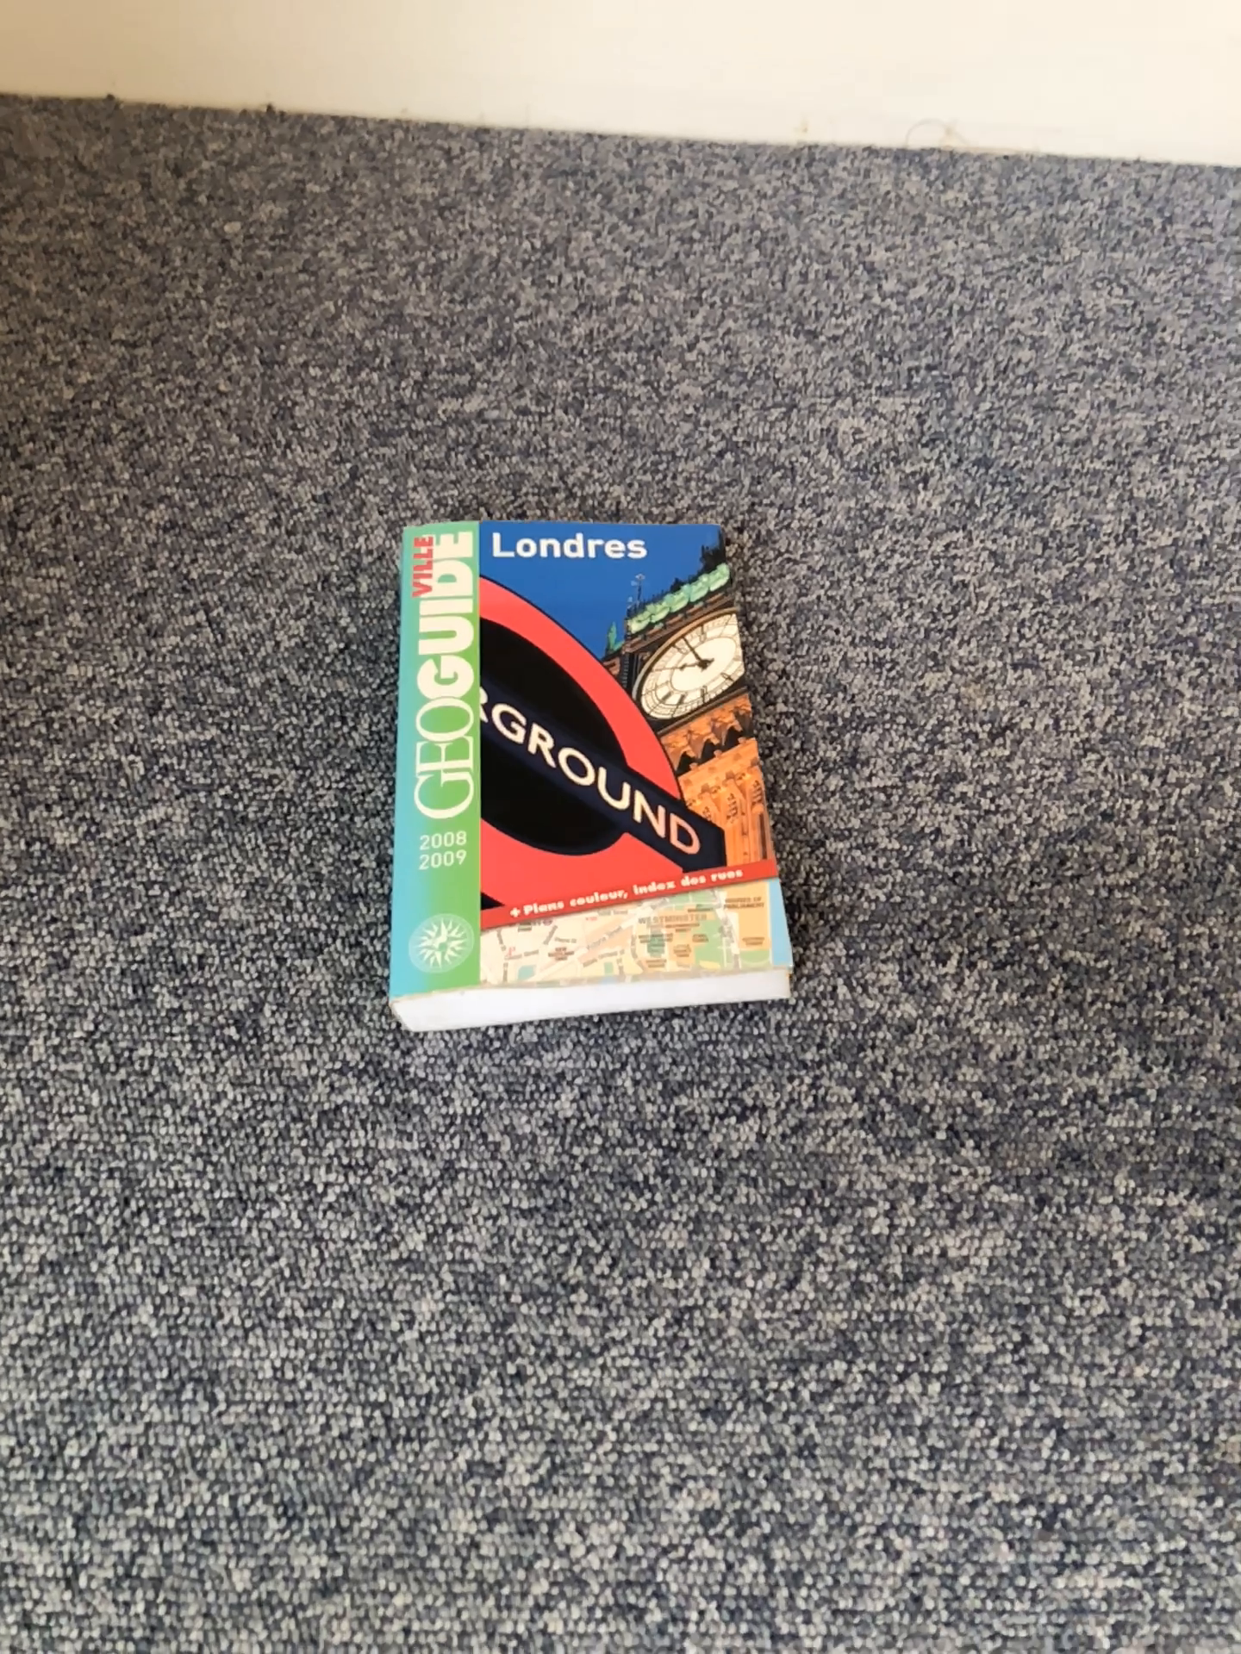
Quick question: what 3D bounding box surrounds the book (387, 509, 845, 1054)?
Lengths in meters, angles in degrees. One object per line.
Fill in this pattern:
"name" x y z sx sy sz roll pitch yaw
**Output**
"book" -0.010 -0.026 0.456 0.130 0.030 0.201 -2 55 -6
